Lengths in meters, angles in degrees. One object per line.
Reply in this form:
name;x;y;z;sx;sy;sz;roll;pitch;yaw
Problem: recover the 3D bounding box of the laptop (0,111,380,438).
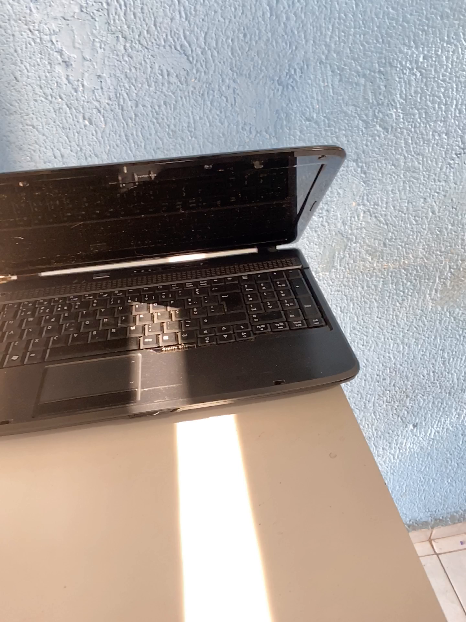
laptop;-0.092;-0.059;0.465;0.378;0.174;0.237;-7;35;-6
